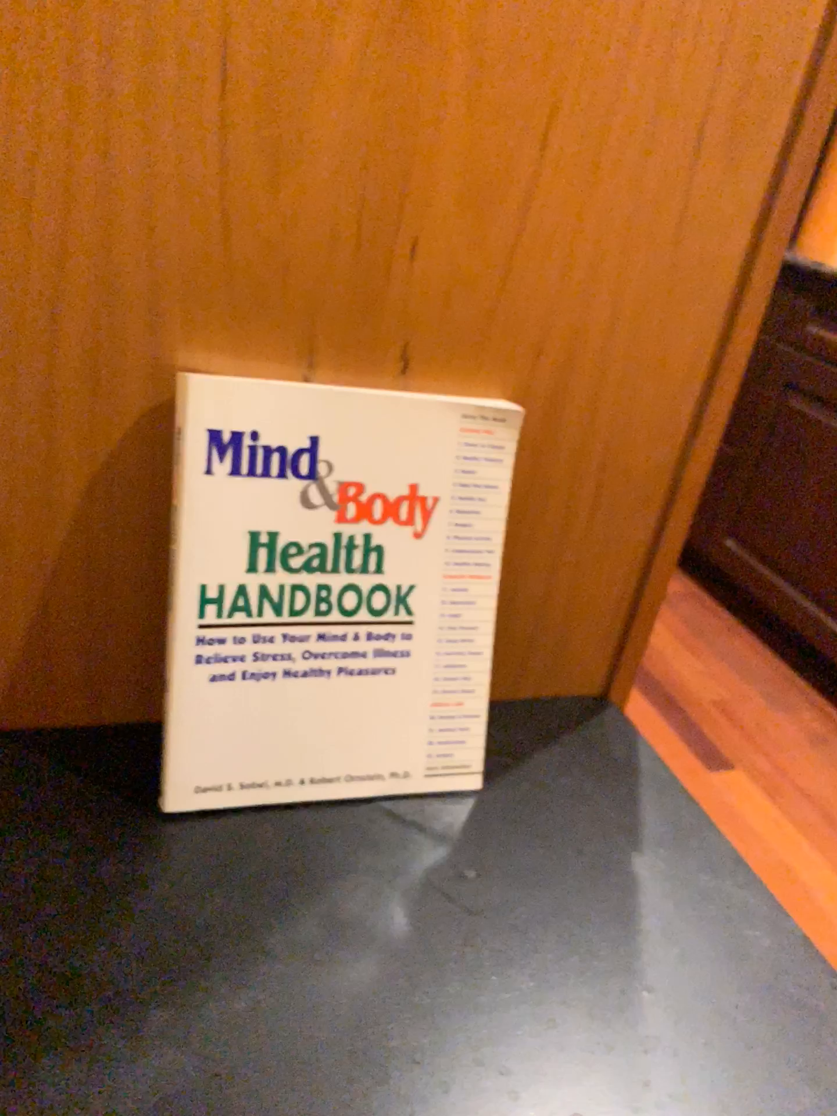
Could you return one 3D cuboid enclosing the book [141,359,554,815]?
[{"bbox_3d":[-0.039,0.018,0.485,0.210,0.230,0.040,2,9,-20],"label":"book"}]
